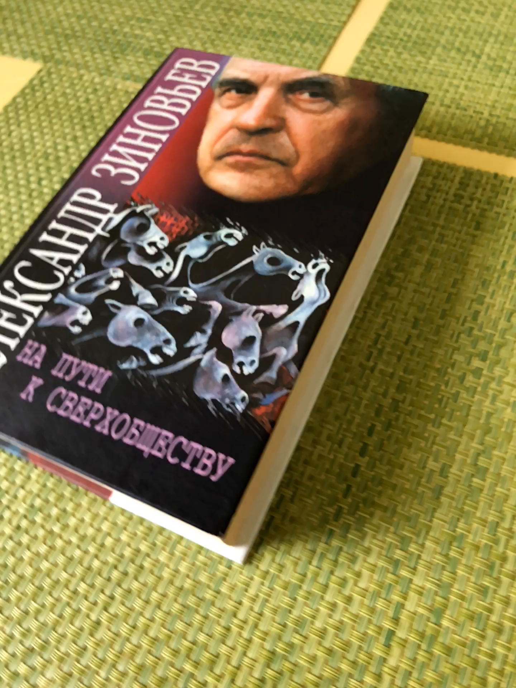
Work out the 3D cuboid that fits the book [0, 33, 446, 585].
[{"bbox_3d":[-0.030,-0.037,0.235,0.150,0.040,0.201,19,64,17],"label":"book"}]
